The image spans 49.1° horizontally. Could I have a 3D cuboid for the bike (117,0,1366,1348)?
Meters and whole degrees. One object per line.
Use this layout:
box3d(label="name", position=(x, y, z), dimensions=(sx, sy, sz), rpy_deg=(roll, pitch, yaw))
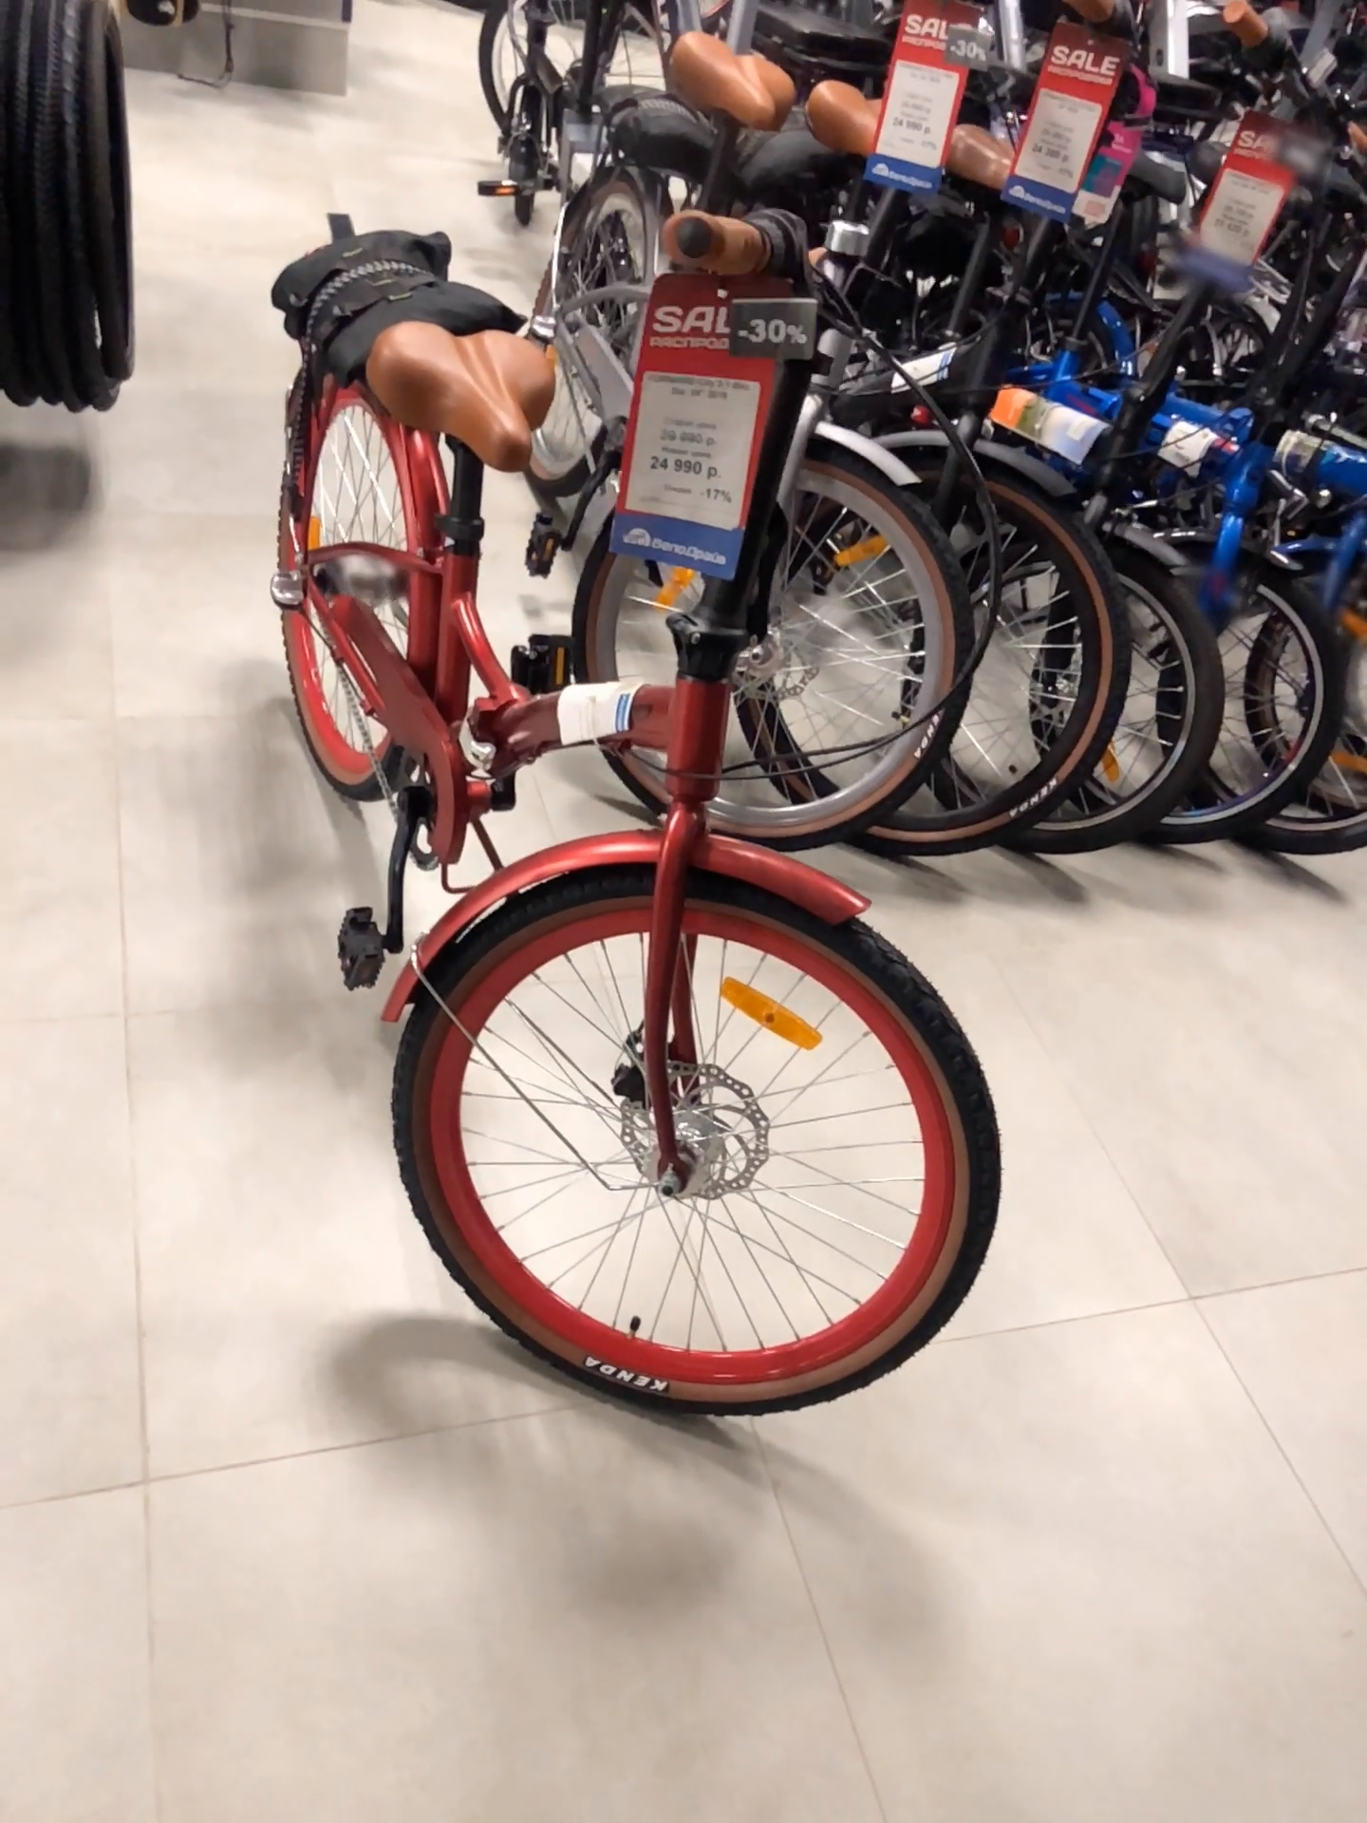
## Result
box3d(label="bike", position=(-0.083, -0.443, 1.700), dimensions=(0.518, 1.111, 1.497), rpy_deg=(-17, 46, -33))
